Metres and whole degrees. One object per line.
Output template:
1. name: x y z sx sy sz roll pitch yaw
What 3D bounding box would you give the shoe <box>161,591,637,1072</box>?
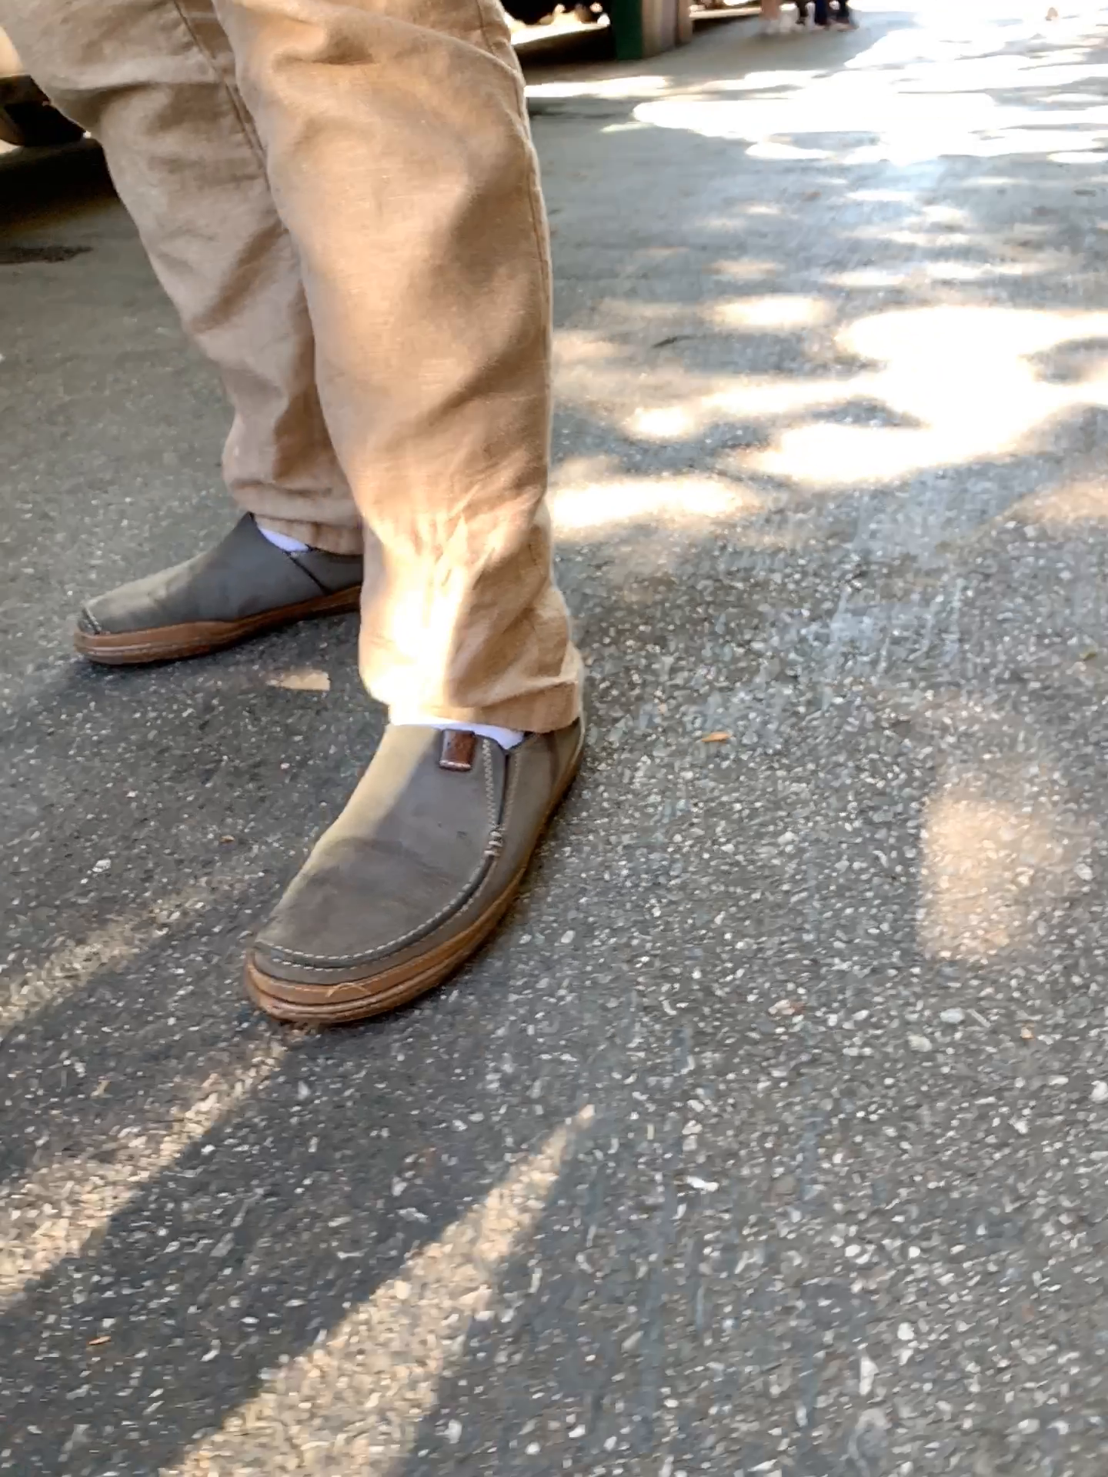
1. shoe: -0.063 0.027 0.652 0.120 0.079 0.321 8 35 21

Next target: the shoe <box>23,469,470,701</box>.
1. shoe: -0.240 -0.130 0.912 0.320 0.060 0.121 -20 35 -20
